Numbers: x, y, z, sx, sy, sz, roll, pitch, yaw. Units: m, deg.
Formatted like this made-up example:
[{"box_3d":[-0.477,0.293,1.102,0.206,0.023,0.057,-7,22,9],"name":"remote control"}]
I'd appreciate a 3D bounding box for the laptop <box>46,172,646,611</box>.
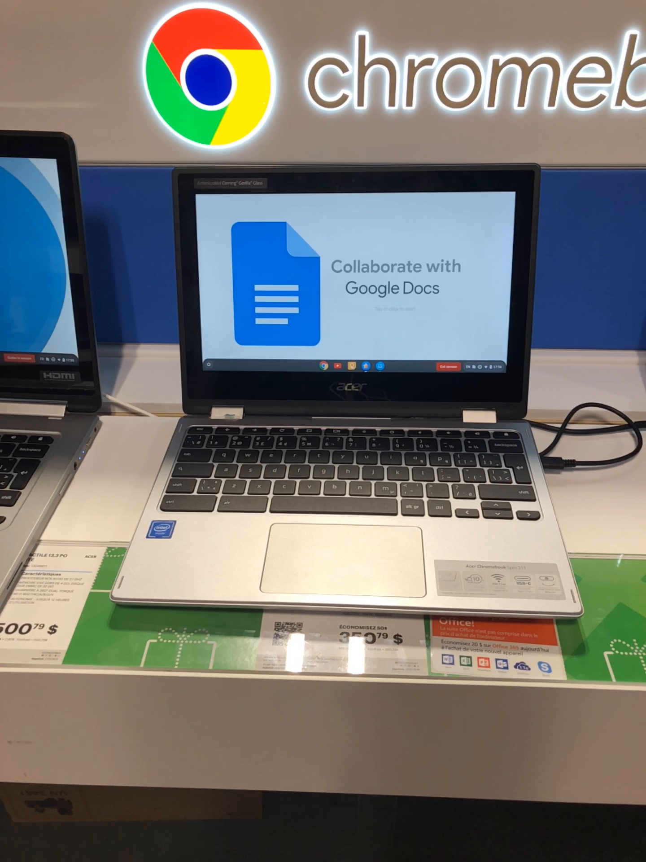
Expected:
[{"box_3d":[0.018,-0.047,0.494,0.284,0.181,0.274,1,36,3],"name":"laptop"}]
